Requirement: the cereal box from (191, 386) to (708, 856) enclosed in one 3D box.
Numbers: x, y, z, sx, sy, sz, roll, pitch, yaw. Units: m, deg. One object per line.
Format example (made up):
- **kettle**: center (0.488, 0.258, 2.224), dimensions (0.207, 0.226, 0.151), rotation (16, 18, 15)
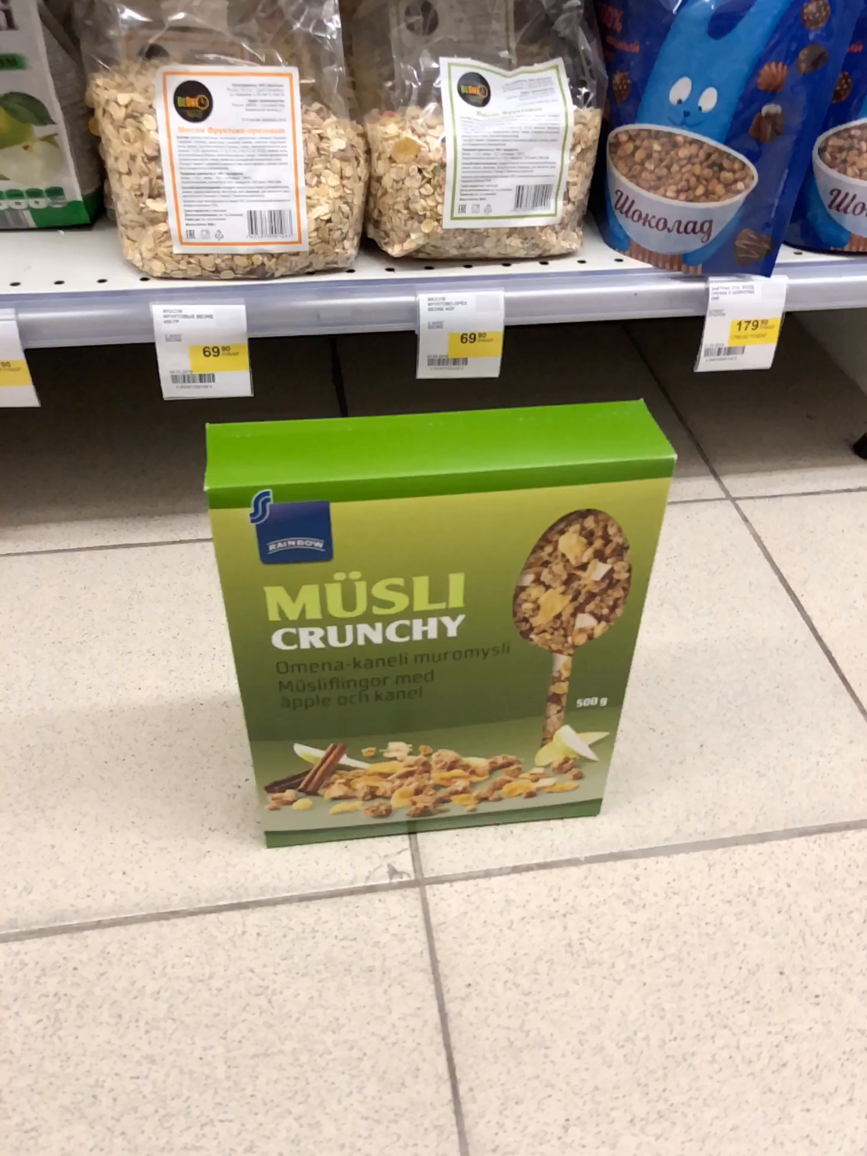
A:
- **cereal box**: center (0.003, 0.033, 0.464), dimensions (0.200, 0.249, 0.050), rotation (-4, 41, -7)
